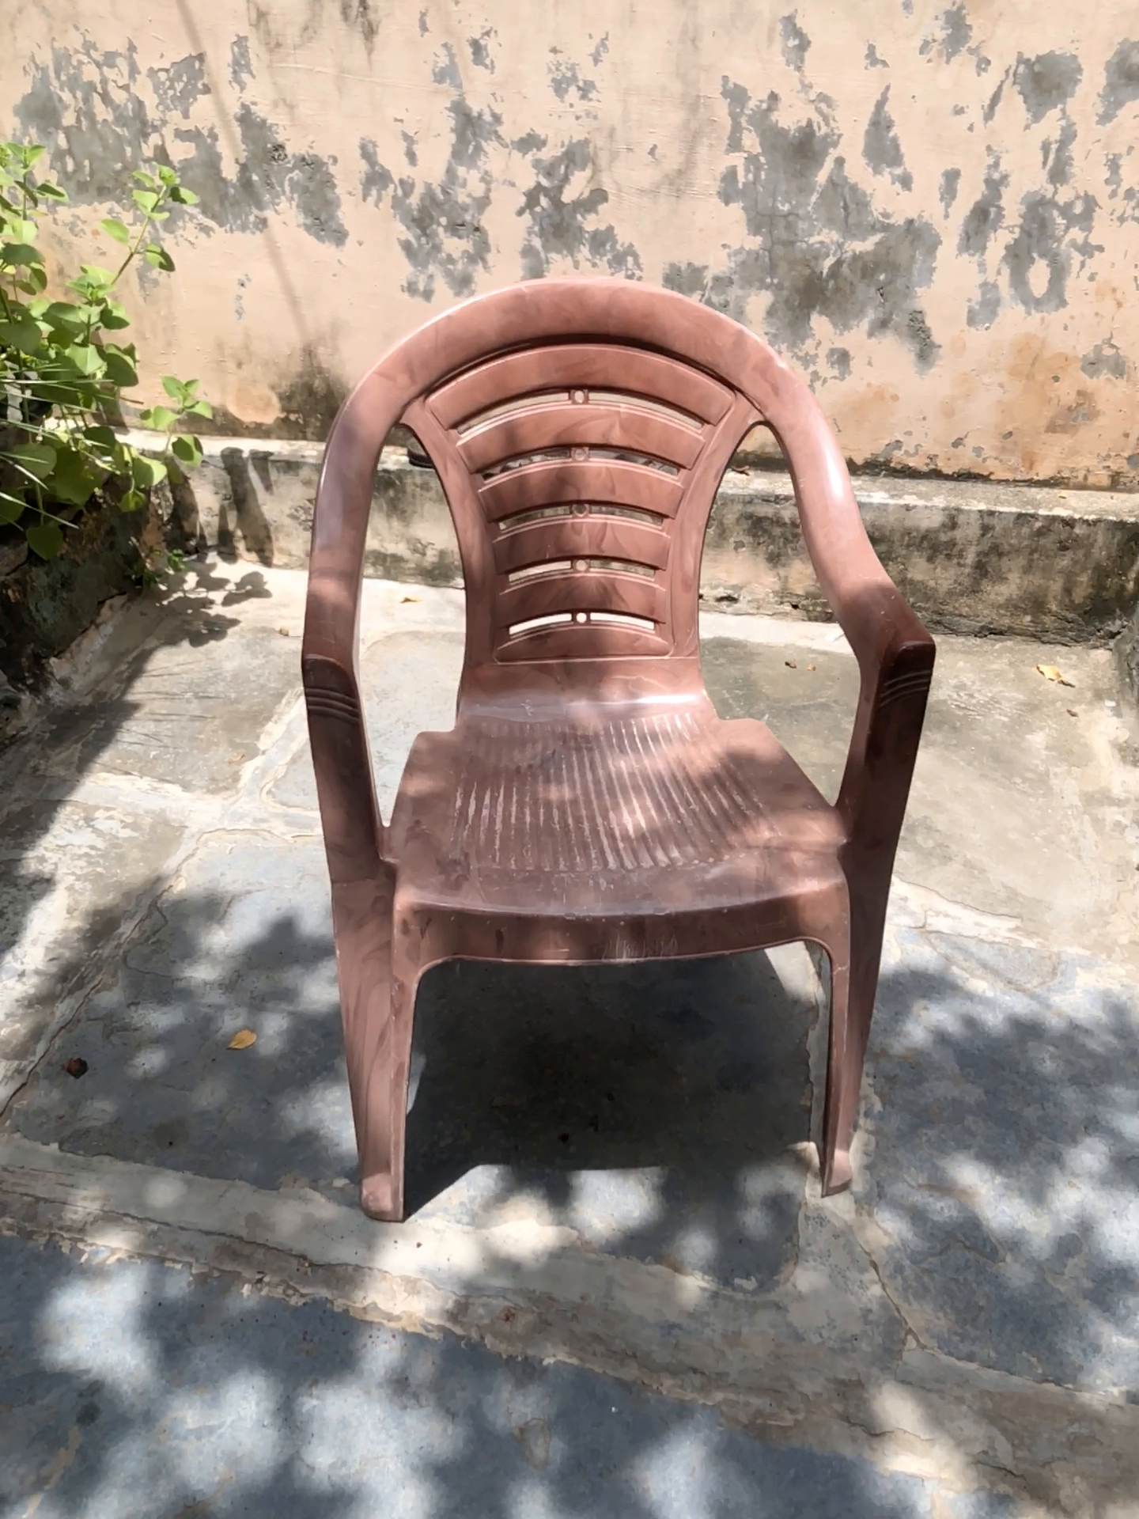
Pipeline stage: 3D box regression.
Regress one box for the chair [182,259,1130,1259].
[{"bbox_3d":[0.034,-0.010,1.196,0.580,0.766,0.543,-2,35,-4],"label":"chair"}]
